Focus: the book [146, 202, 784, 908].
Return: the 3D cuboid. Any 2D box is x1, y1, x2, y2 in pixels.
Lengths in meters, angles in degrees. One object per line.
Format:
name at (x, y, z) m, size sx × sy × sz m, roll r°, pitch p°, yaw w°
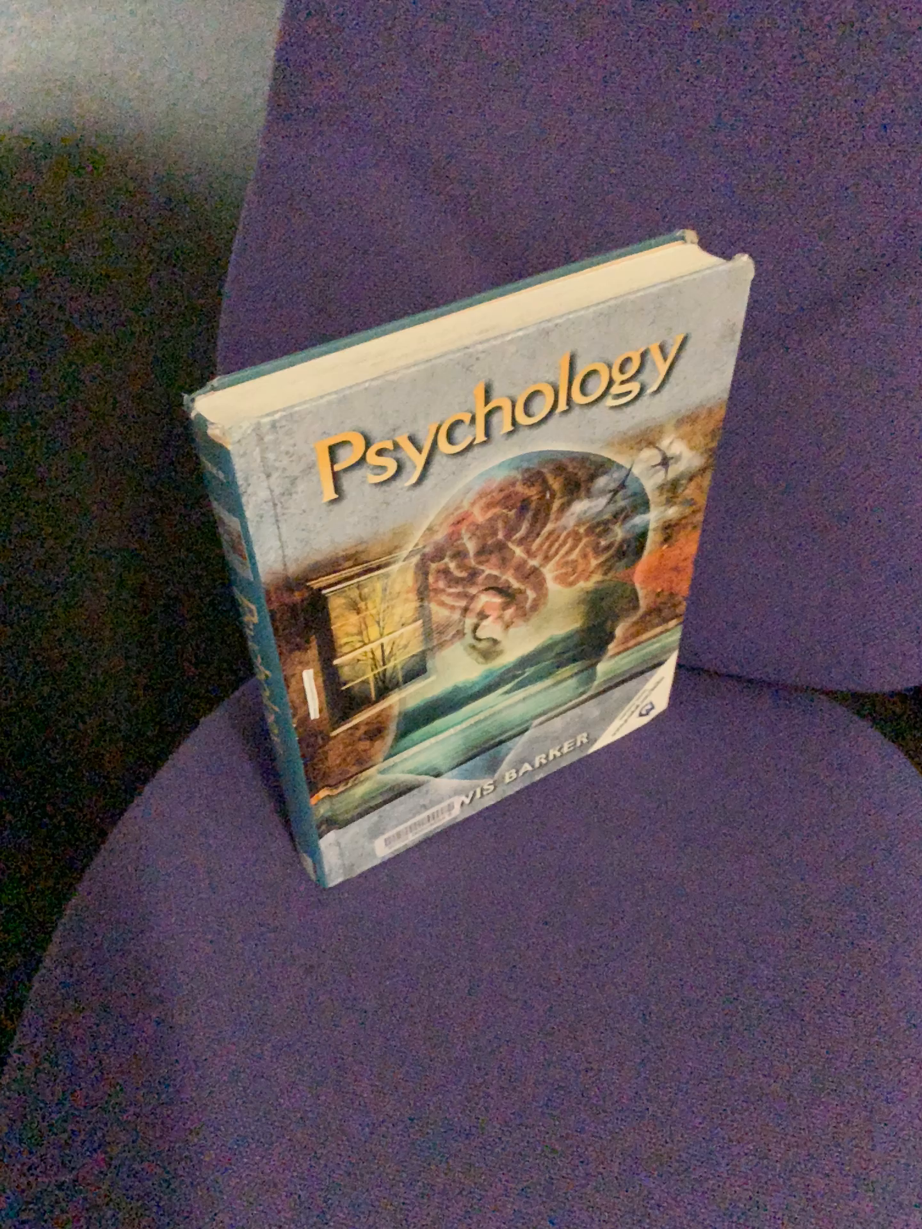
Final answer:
book at (0.019, -0.009, 0.441) m, size 0.243 × 0.287 × 0.040 m, roll -26°, pitch 50°, yaw -19°
